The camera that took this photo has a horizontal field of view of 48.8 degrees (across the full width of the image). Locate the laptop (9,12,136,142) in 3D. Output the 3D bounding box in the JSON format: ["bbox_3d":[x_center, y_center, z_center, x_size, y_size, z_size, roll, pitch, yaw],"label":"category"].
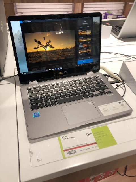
[{"bbox_3d":[0.016,-0.077,0.457,0.320,0.211,0.291,-12,44,-17],"label":"laptop"}]
